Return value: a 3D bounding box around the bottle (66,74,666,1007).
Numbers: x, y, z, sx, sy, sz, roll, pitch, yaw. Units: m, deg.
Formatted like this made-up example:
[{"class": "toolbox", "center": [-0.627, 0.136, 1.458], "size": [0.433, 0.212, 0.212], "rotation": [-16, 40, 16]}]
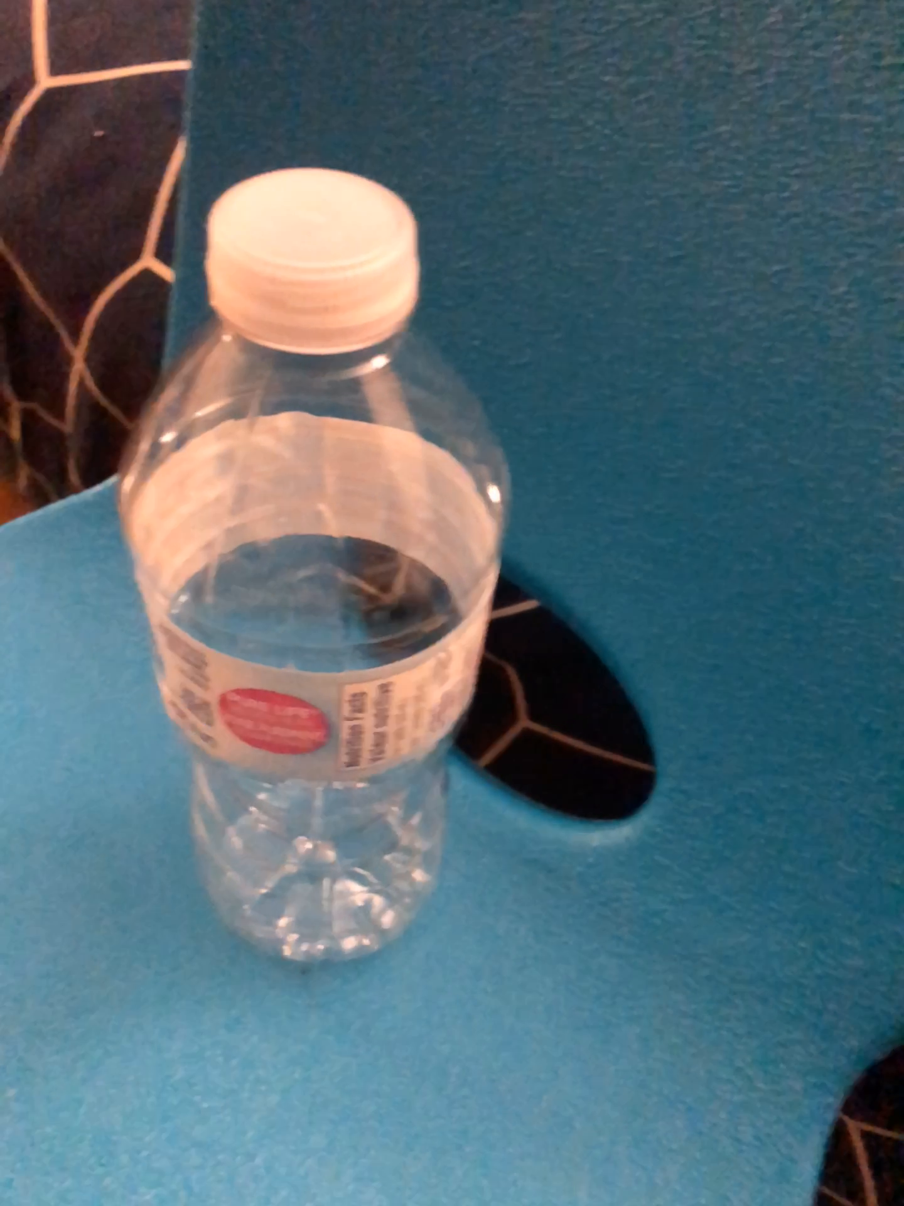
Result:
[{"class": "bottle", "center": [-0.030, 0.007, 0.207], "size": [0.070, 0.189, 0.070], "rotation": [6, 48, -6]}]
